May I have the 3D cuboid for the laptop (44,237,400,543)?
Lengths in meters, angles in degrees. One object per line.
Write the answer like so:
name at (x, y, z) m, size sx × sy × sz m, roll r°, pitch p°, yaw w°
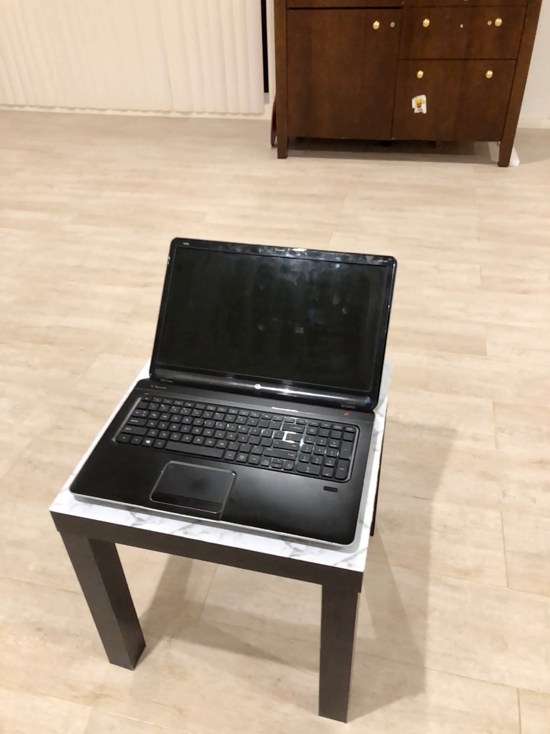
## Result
laptop at (-0.036, -0.006, 0.905) m, size 0.386 × 0.169 × 0.440 m, roll 8°, pitch 39°, yaw 12°
